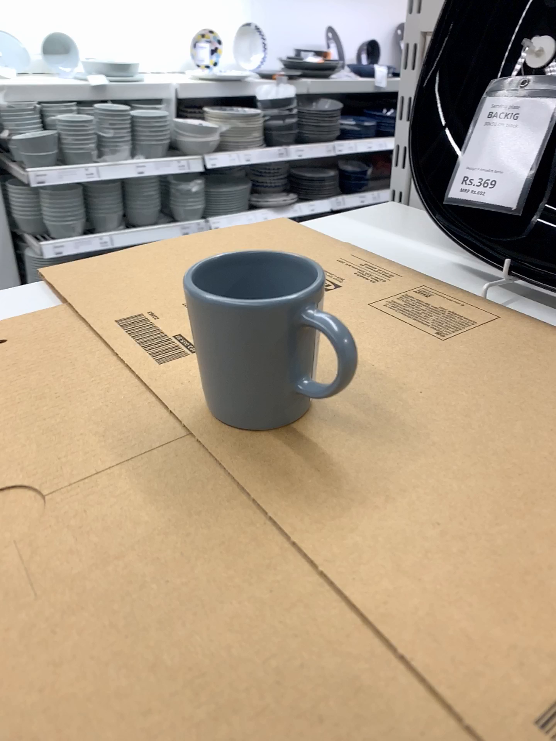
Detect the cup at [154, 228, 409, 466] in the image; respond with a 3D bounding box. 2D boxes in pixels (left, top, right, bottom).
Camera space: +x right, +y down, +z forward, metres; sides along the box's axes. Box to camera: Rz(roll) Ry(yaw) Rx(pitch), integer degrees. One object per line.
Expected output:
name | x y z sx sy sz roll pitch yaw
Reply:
cup | 0.000 -0.015 0.238 0.080 0.060 0.060 24 37 34
